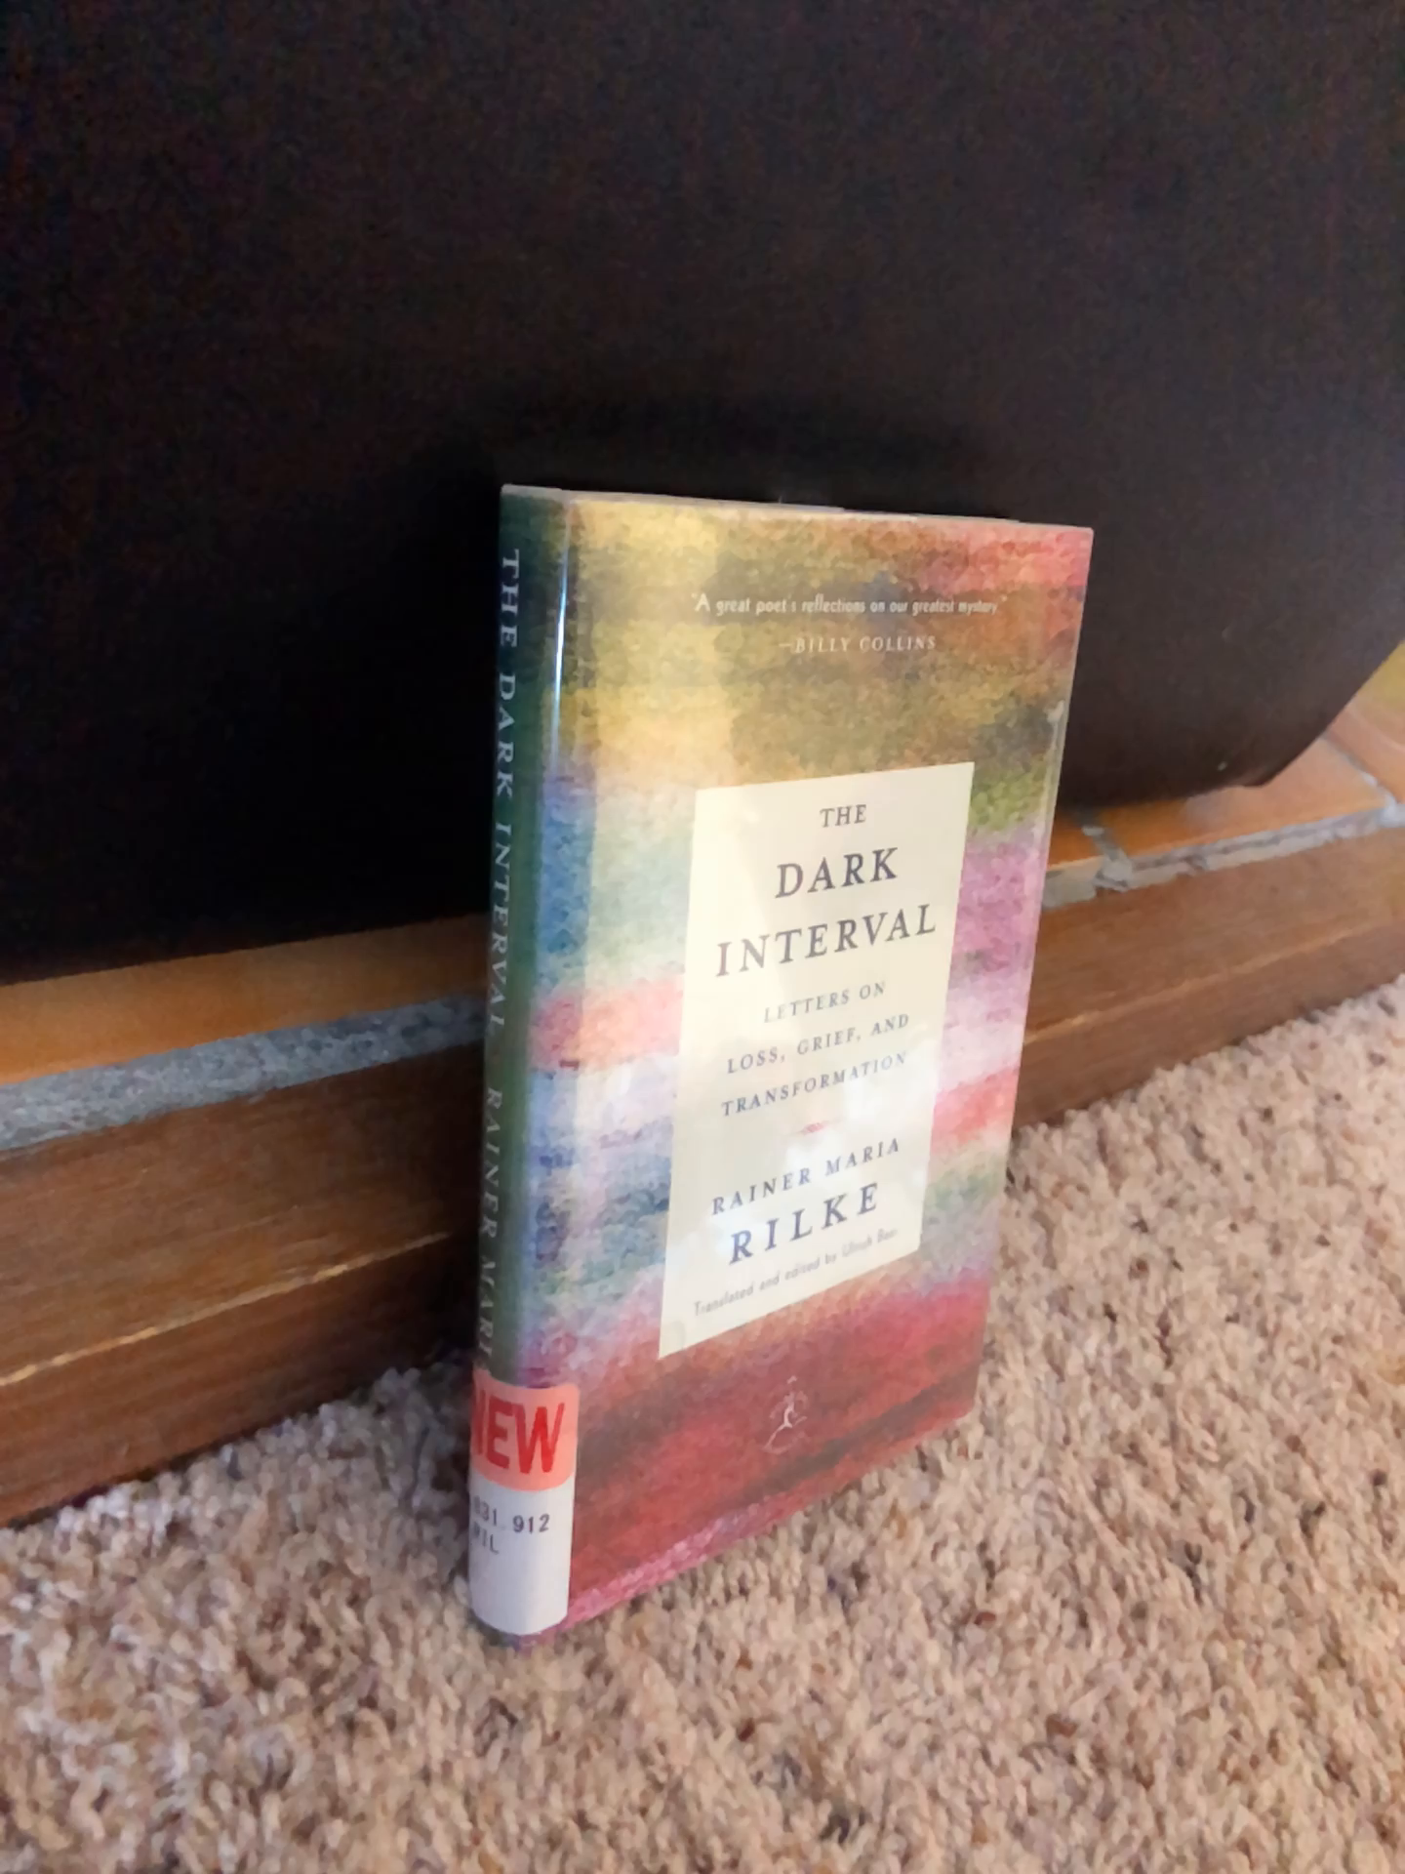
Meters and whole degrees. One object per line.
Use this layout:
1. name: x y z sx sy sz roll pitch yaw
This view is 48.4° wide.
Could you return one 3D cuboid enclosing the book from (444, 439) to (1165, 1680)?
1. book: 0.021 0.016 0.283 0.136 0.190 0.030 -10 21 -44
